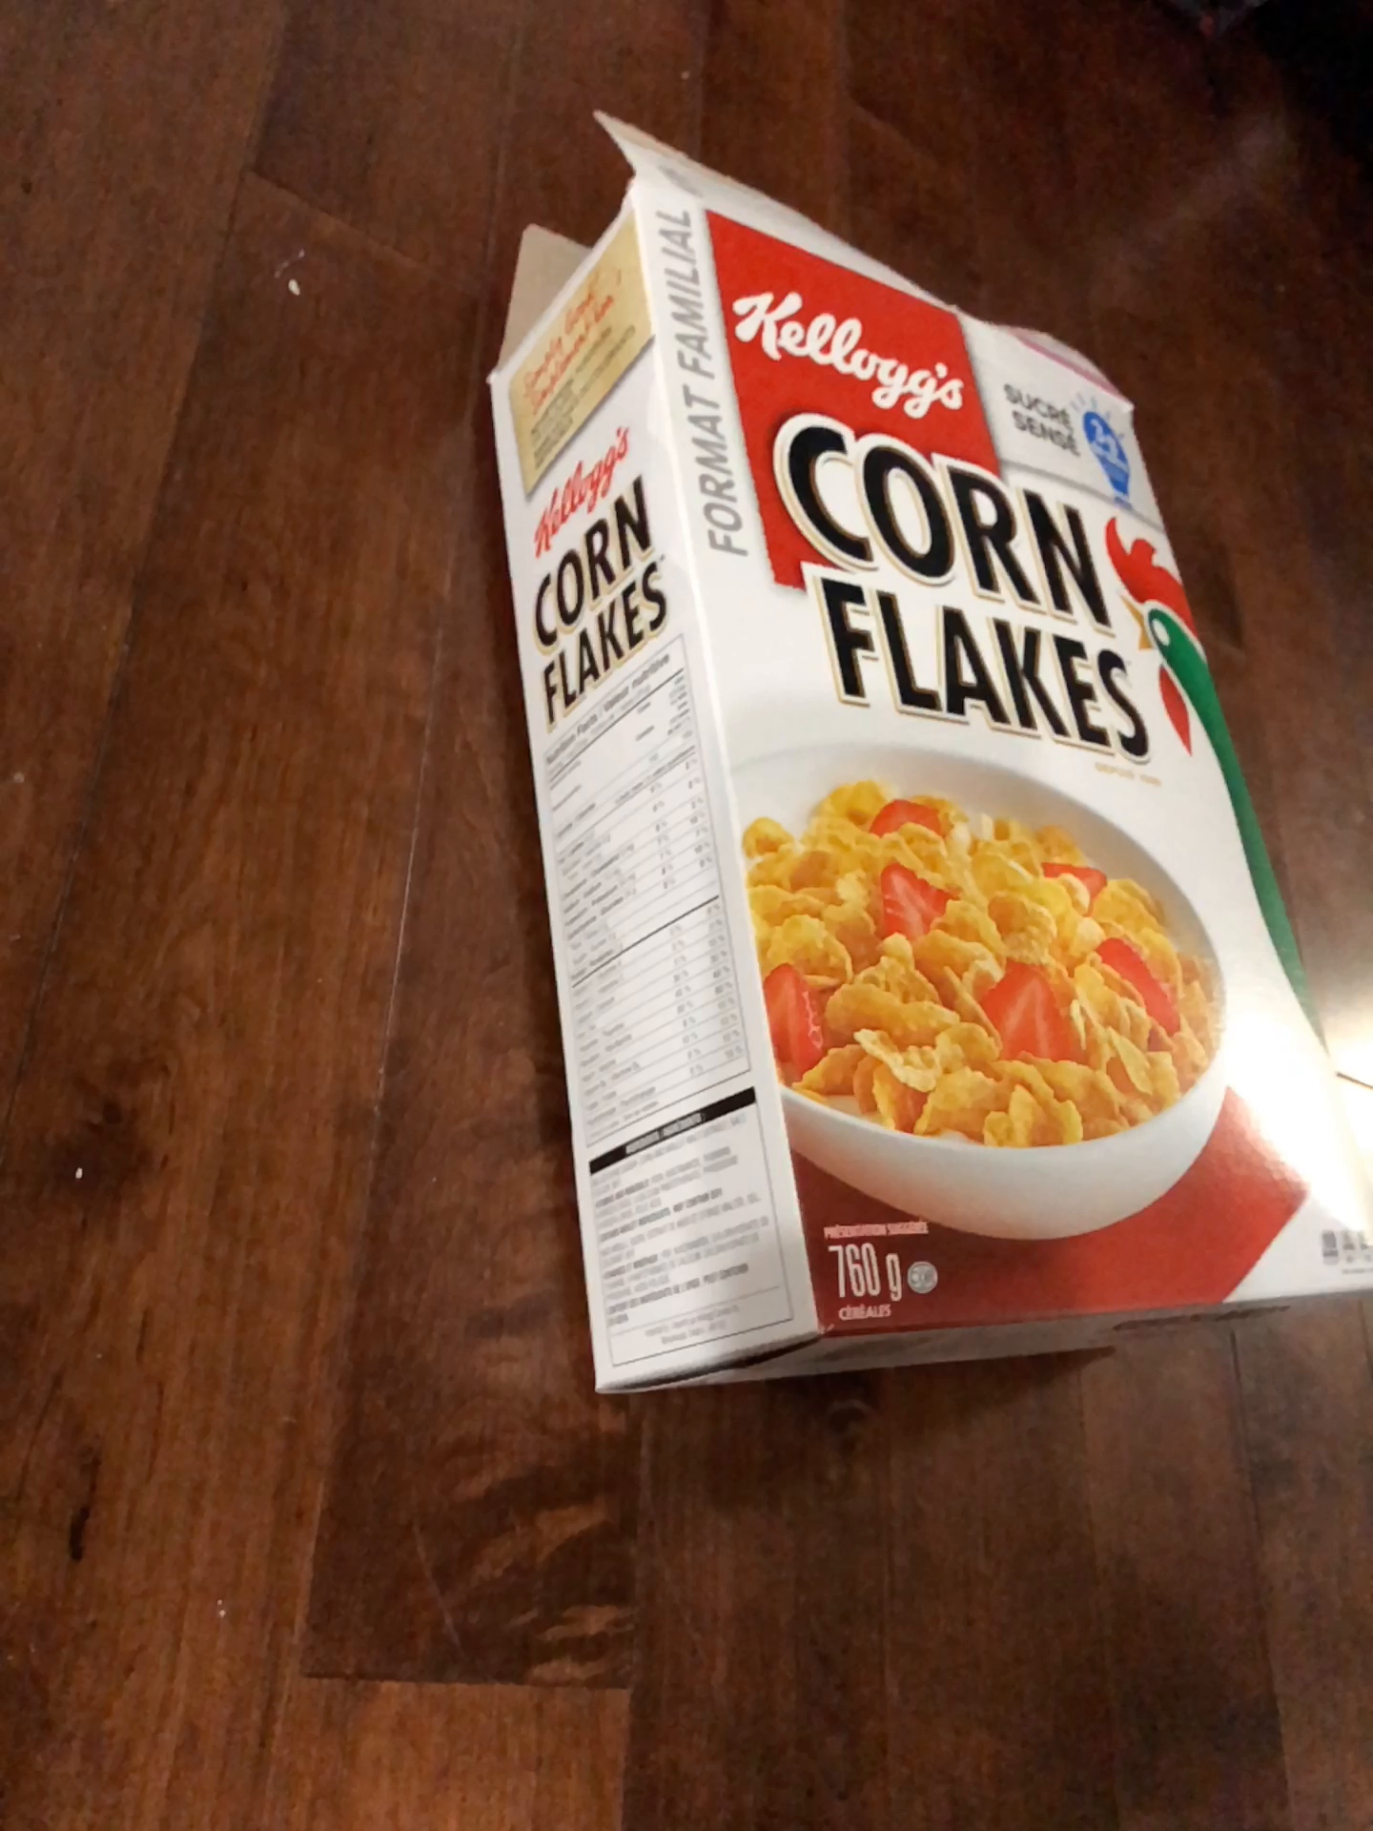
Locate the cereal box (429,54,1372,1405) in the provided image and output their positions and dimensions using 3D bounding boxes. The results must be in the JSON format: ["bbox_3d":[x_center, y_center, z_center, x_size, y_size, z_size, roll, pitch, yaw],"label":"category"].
[{"bbox_3d":[0.067,-0.053,0.503,0.261,0.090,0.380,7,65,-35],"label":"cereal box"}]
